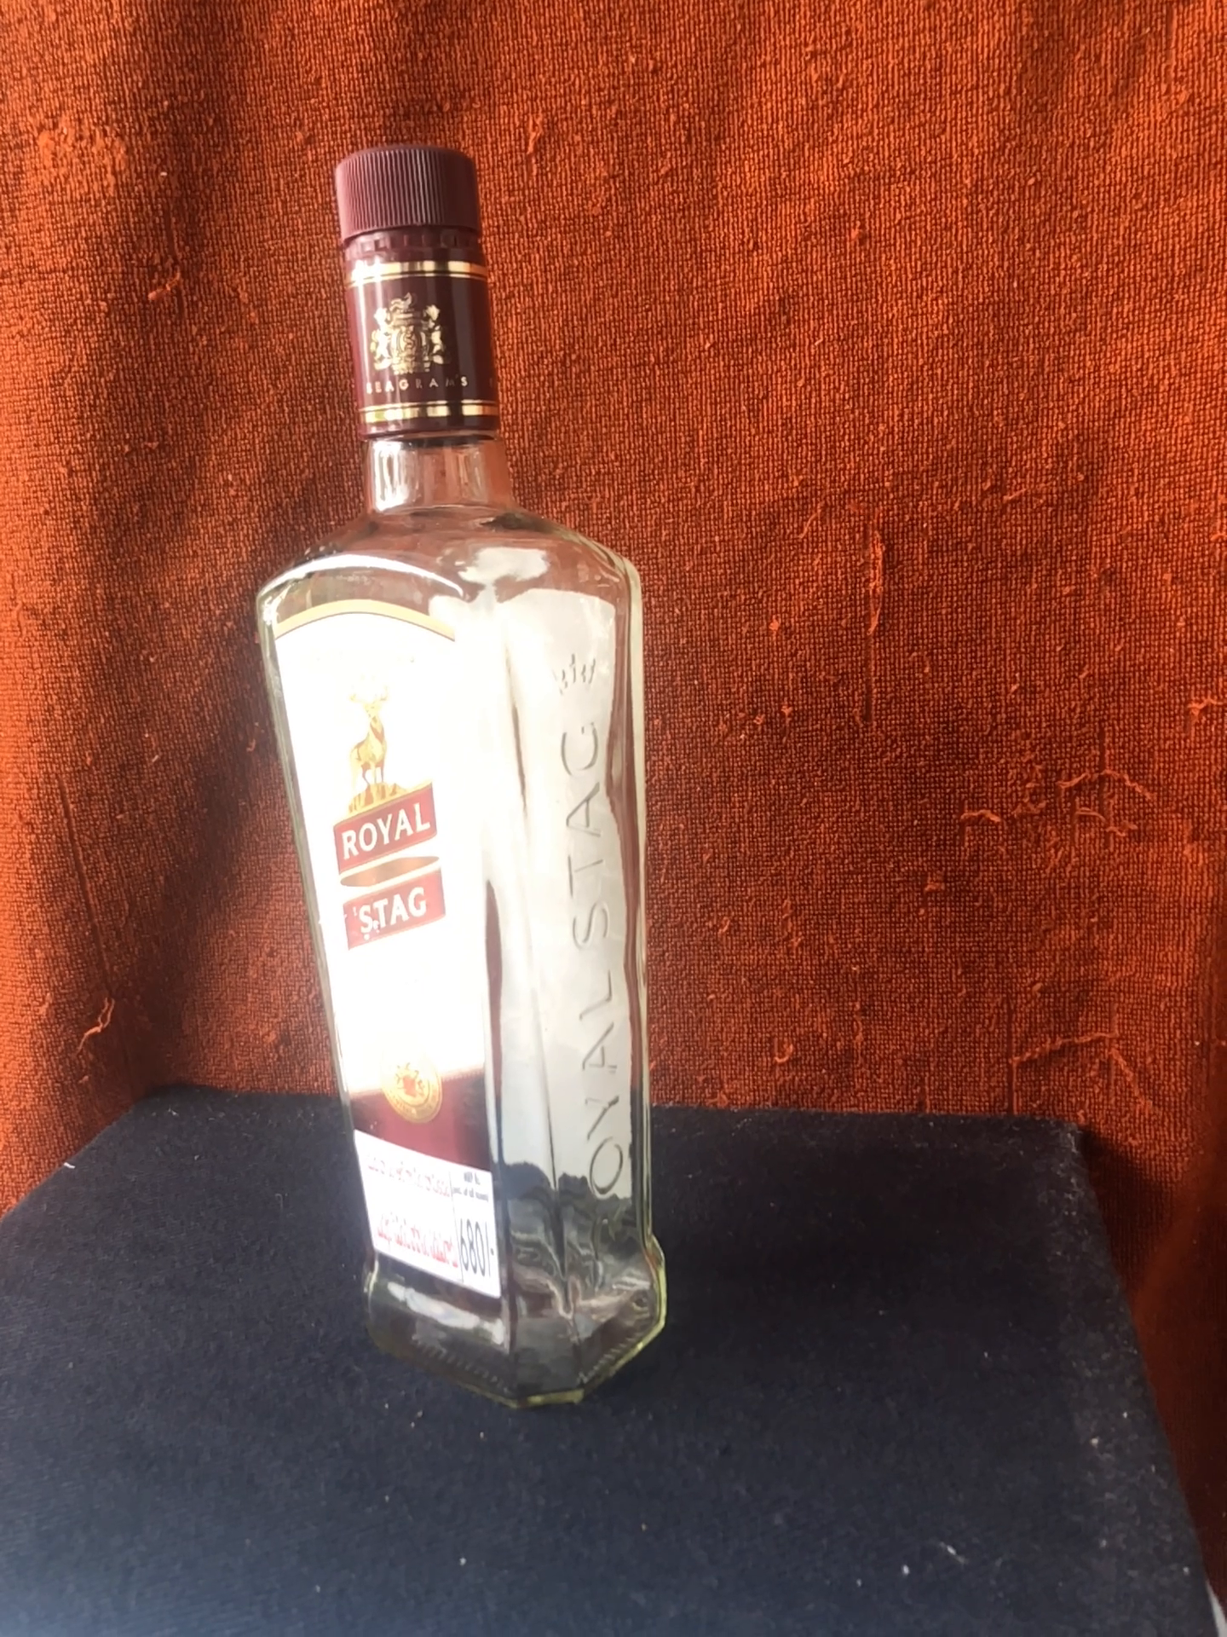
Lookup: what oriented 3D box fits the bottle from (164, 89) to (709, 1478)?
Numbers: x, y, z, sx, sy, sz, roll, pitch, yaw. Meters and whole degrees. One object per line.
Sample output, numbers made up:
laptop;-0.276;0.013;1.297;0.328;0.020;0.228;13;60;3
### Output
bottle;-0.035;-0.001;0.322;0.090;0.289;0.060;7;17;33
